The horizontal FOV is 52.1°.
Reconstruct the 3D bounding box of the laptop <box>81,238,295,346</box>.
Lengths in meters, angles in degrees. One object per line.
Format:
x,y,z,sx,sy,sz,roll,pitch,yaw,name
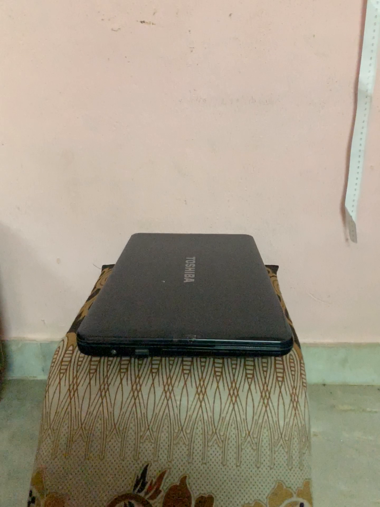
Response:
-0.002,0.033,0.578,0.222,0.001,0.371,0,19,1,laptop
